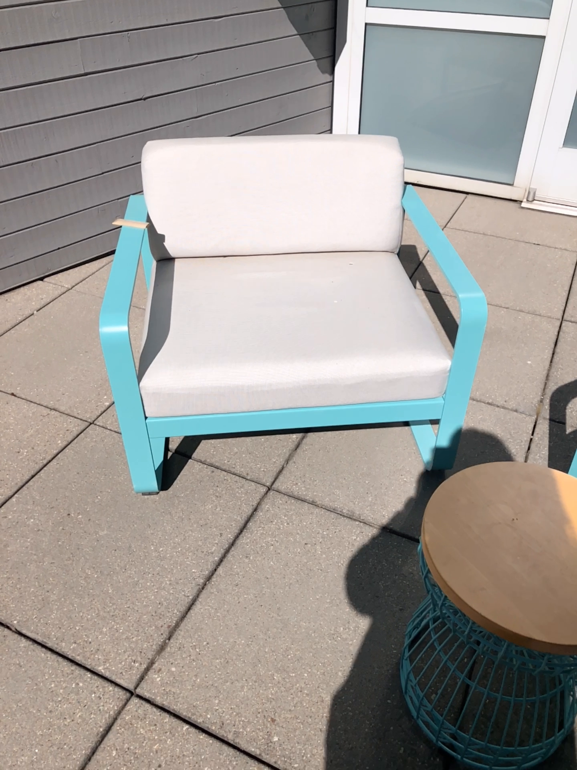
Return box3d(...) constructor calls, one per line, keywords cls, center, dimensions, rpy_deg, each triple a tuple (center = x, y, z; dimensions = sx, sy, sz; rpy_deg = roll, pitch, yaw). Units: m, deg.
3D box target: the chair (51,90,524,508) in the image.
box3d(cls="chair", center=(-0.036, -0.292, 1.777), dimensions=(0.900, 0.766, 0.875), rpy_deg=(-5, 37, -5))
